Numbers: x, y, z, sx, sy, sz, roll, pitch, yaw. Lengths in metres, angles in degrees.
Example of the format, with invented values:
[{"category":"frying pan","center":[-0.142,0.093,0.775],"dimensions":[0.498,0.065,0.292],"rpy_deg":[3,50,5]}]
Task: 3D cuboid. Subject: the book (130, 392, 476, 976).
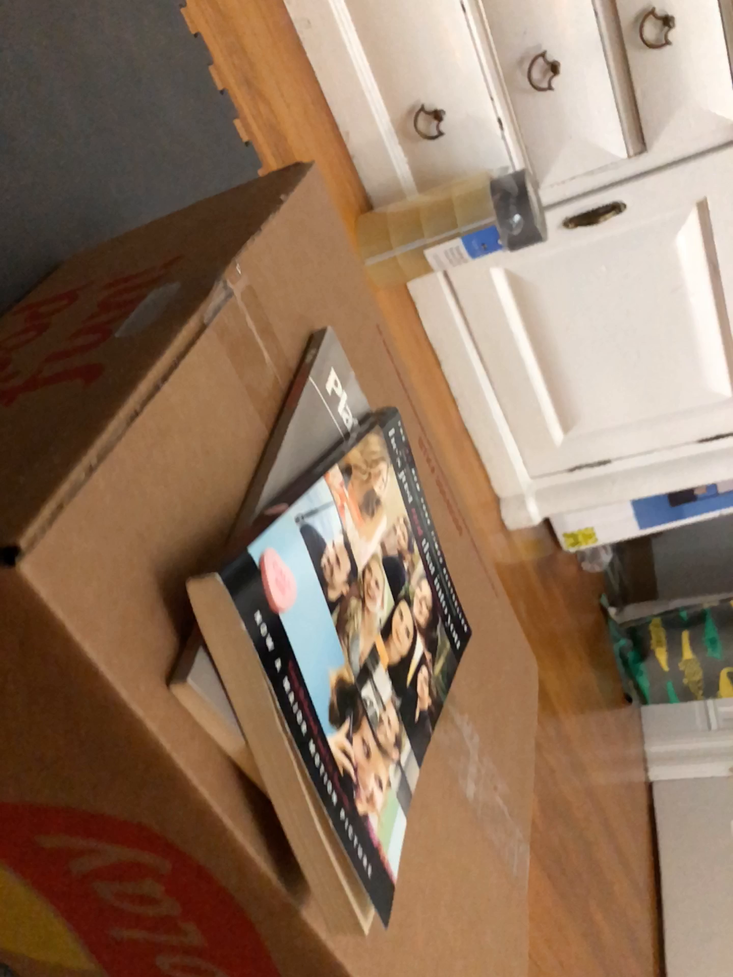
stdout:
[{"category":"book","center":[-0.001,0.061,0.340],"dimensions":[0.150,0.010,0.231],"rpy_deg":[70,24,-15]}]
